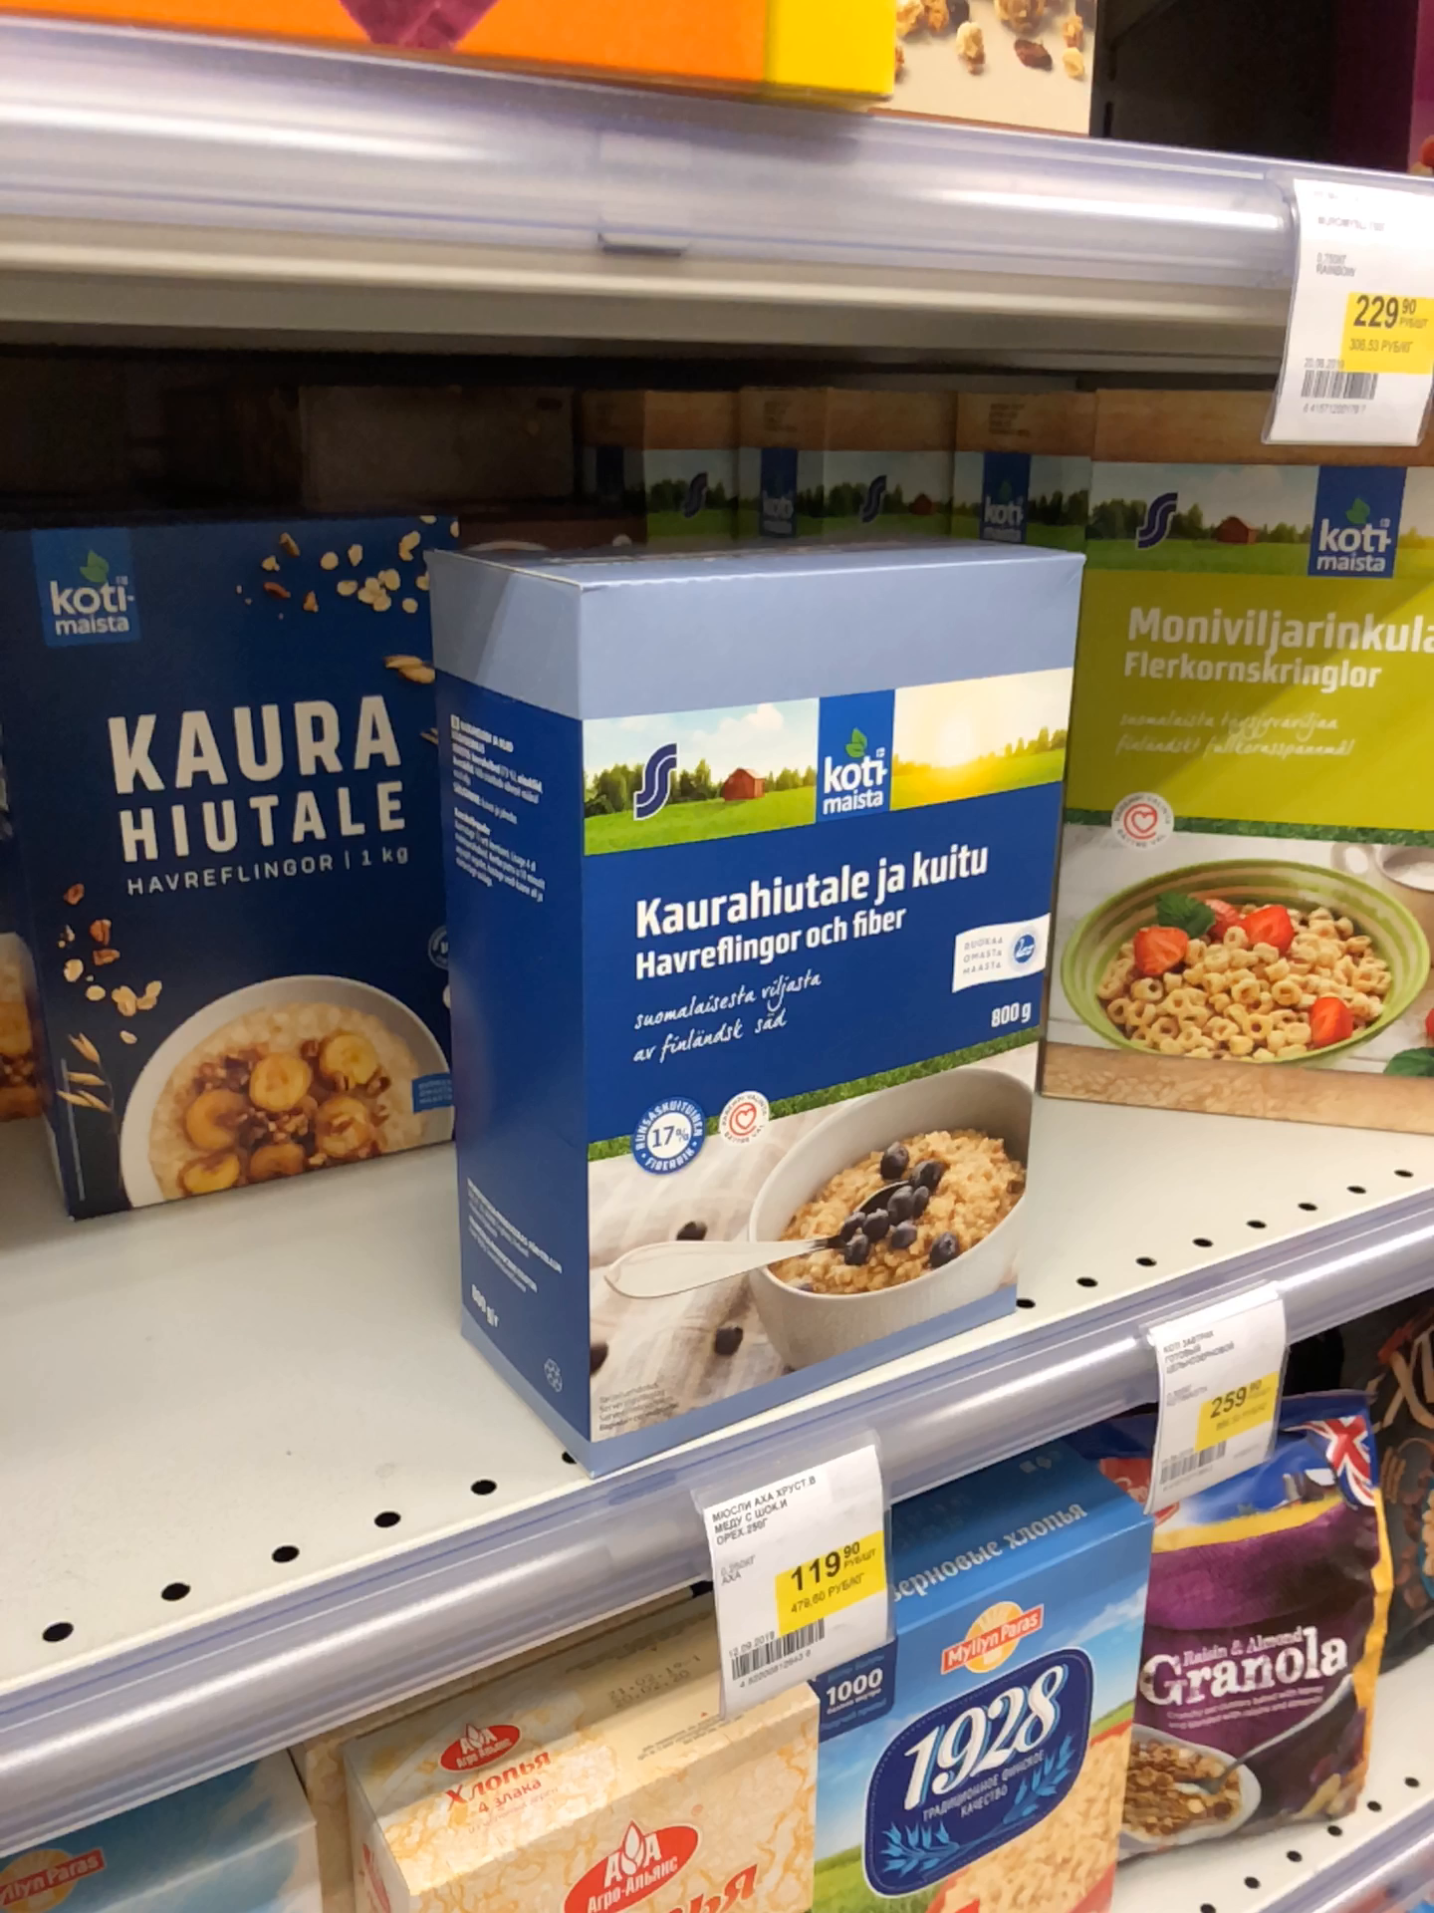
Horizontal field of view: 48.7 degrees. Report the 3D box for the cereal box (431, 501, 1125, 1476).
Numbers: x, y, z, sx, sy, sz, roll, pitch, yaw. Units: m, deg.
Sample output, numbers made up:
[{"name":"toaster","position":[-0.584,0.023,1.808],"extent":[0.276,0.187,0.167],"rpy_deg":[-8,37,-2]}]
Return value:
[{"name":"cereal box","position":[0.015,-0.003,0.419],"extent":[0.150,0.219,0.080],"rpy_deg":[-11,22,-33]}]
